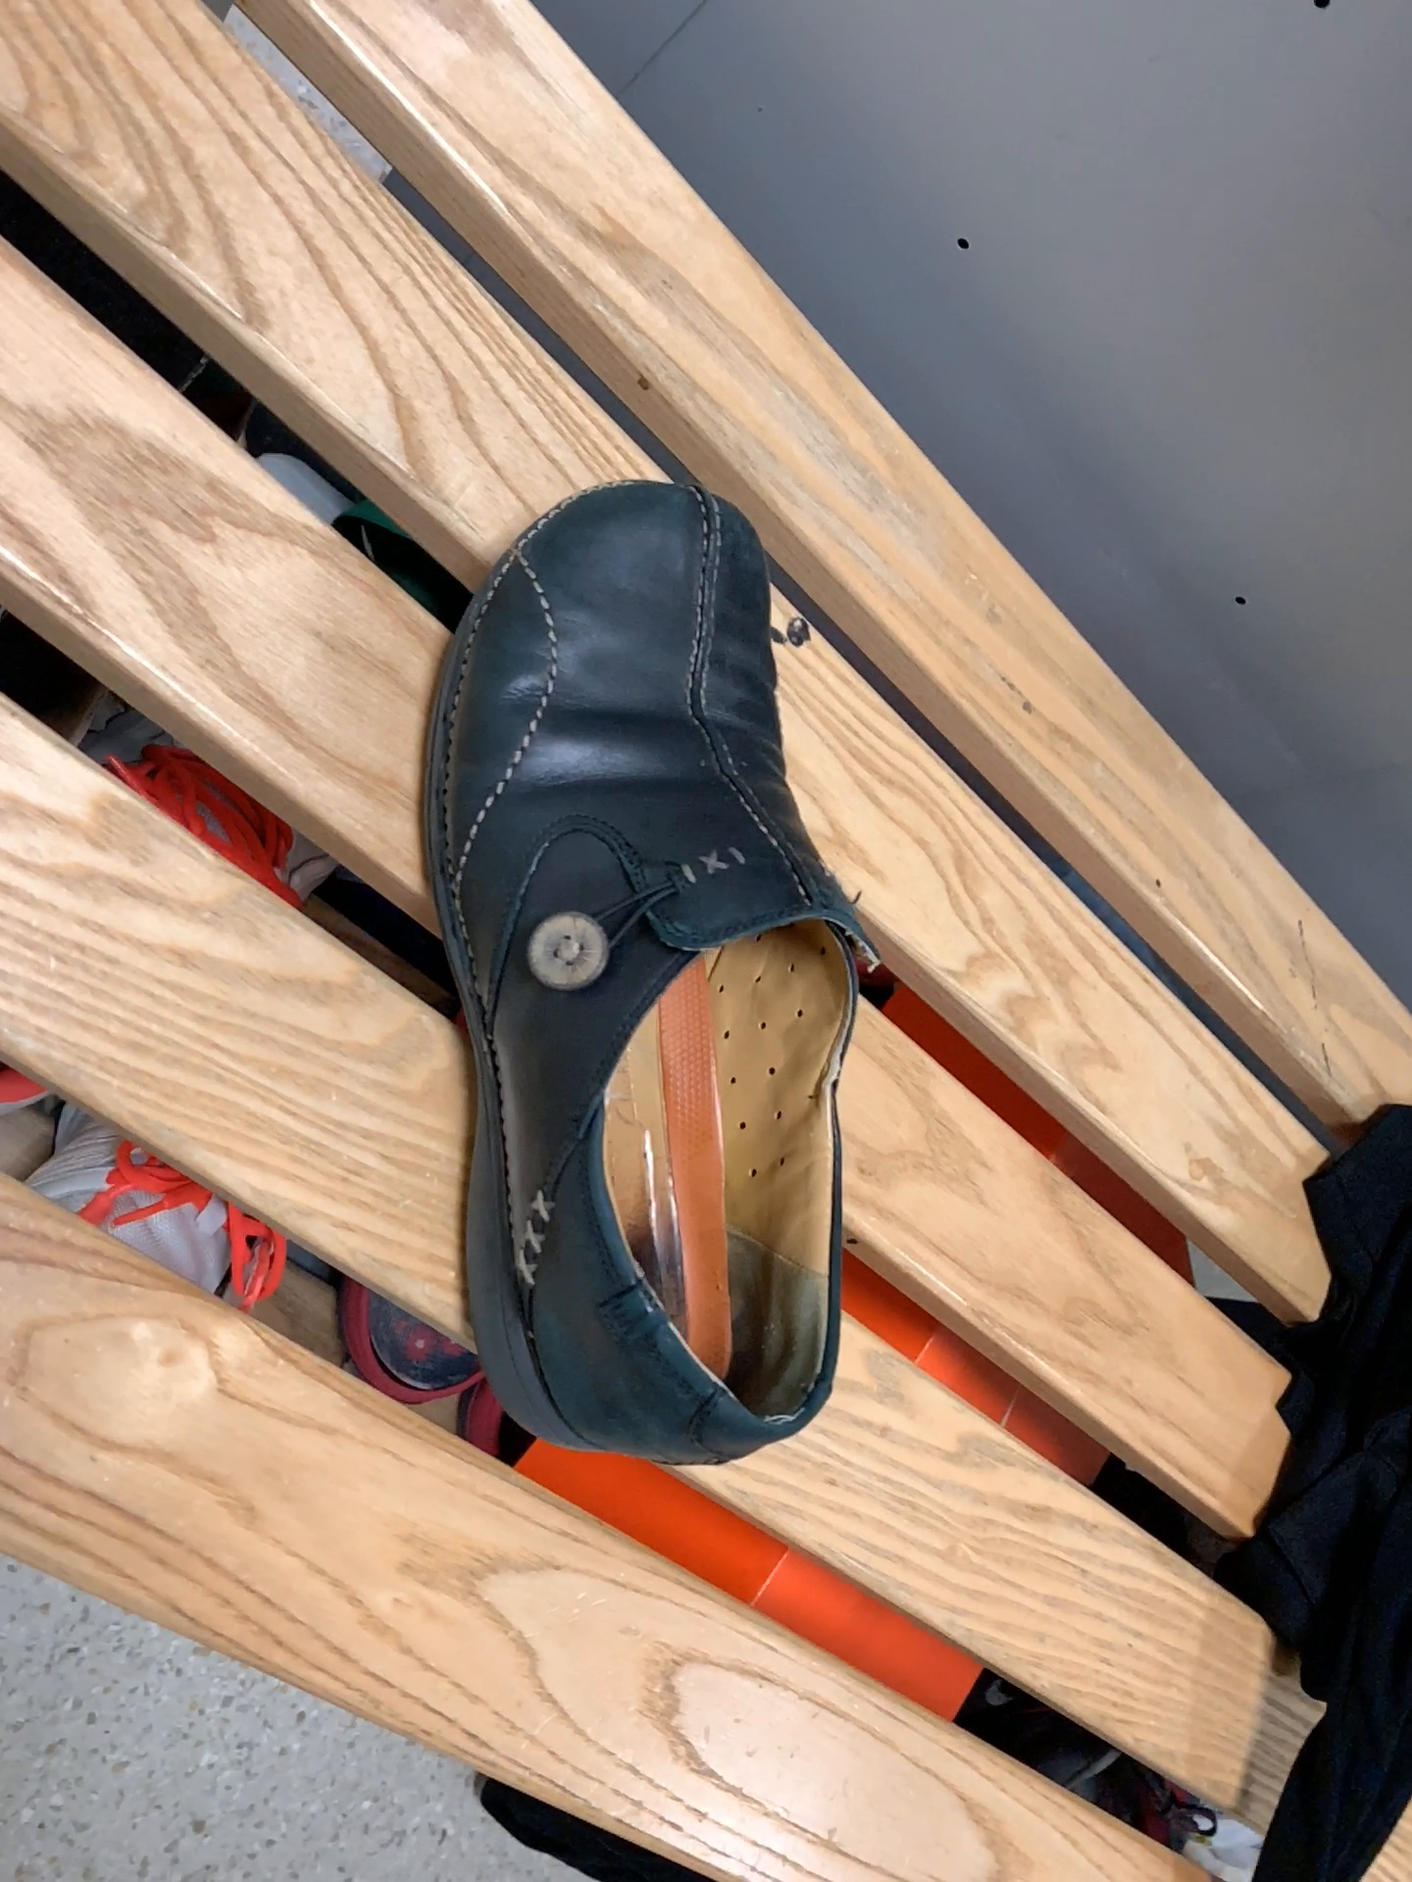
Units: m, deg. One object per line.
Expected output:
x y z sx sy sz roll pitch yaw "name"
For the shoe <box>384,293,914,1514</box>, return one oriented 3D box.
-0.017 -0.009 0.374 0.104 0.075 0.268 2 83 -35 "shoe"
